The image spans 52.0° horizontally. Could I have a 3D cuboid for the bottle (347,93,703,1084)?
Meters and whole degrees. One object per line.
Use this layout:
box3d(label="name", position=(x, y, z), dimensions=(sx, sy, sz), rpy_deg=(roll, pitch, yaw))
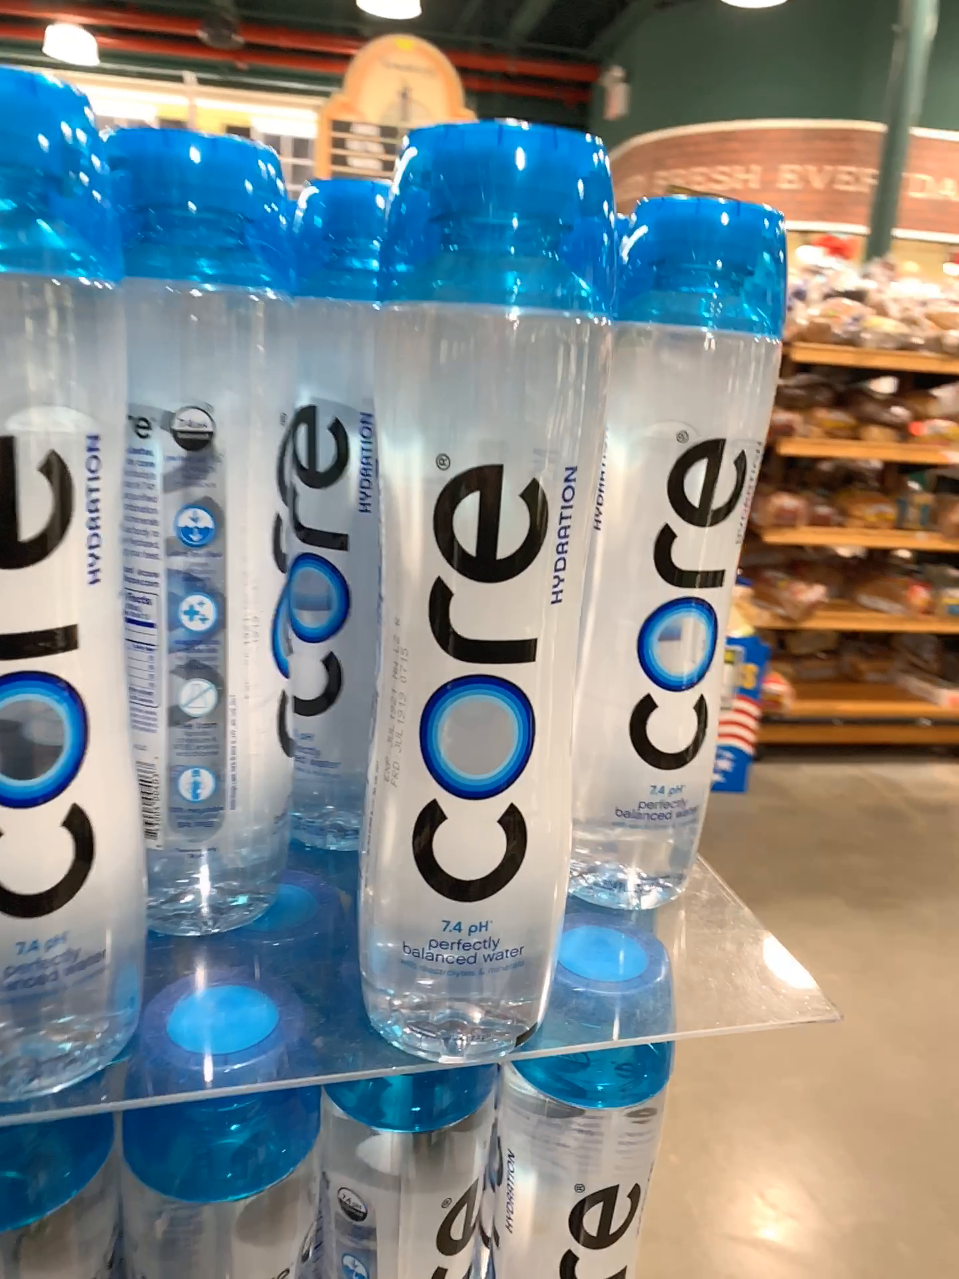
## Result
box3d(label="bottle", position=(0.002, -0.006, 0.327), dimensions=(0.080, 0.289, 0.090), rpy_deg=(2, 16, -7))
